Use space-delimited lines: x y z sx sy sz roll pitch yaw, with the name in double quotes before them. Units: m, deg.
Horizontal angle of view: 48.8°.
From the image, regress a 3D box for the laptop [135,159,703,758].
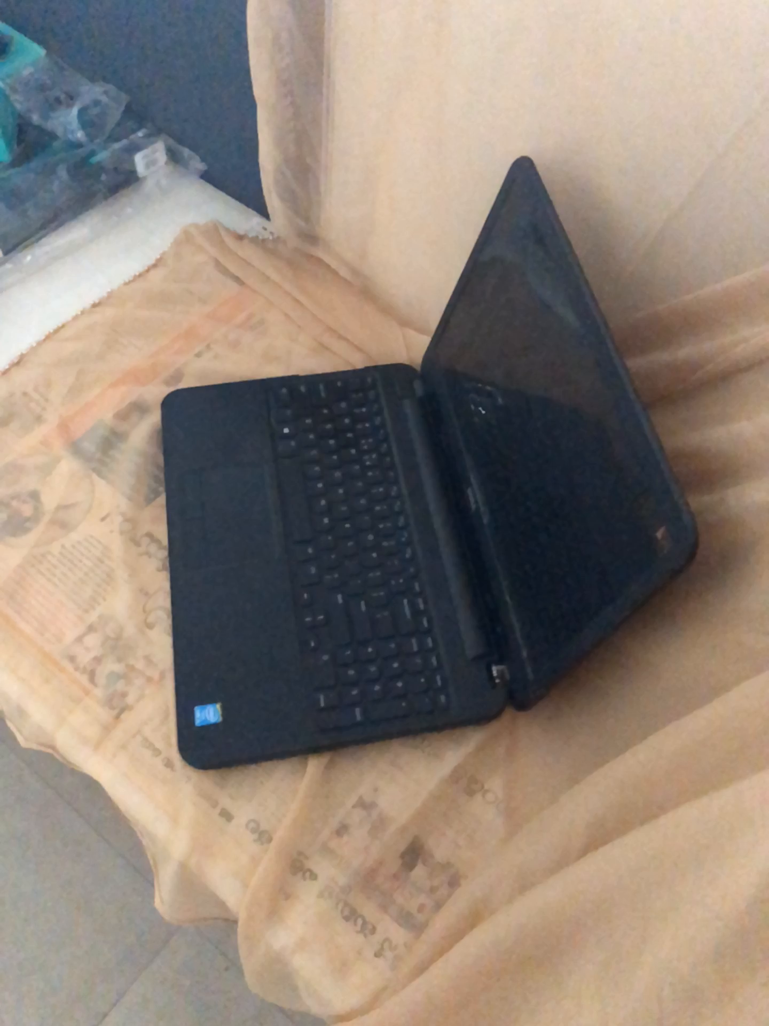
"laptop" -0.011 -0.047 0.640 0.305 0.226 0.350 -7 58 -8
